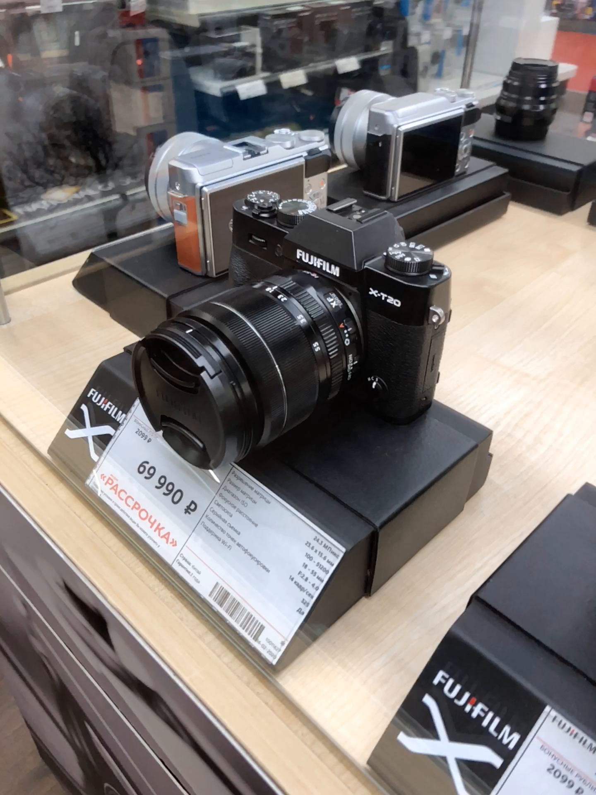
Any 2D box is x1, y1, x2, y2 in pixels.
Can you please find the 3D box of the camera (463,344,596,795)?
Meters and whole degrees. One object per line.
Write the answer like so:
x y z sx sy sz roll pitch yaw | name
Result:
0.137 0.065 0.166 0.130 0.072 0.124 32 46 33 | camera

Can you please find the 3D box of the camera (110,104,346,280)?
-0.040 -0.134 0.416 0.074 0.063 0.122 32 46 33 | camera

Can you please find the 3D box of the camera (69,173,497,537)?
-0.007 -0.032 0.299 0.130 0.080 0.122 -29 47 -34 | camera
